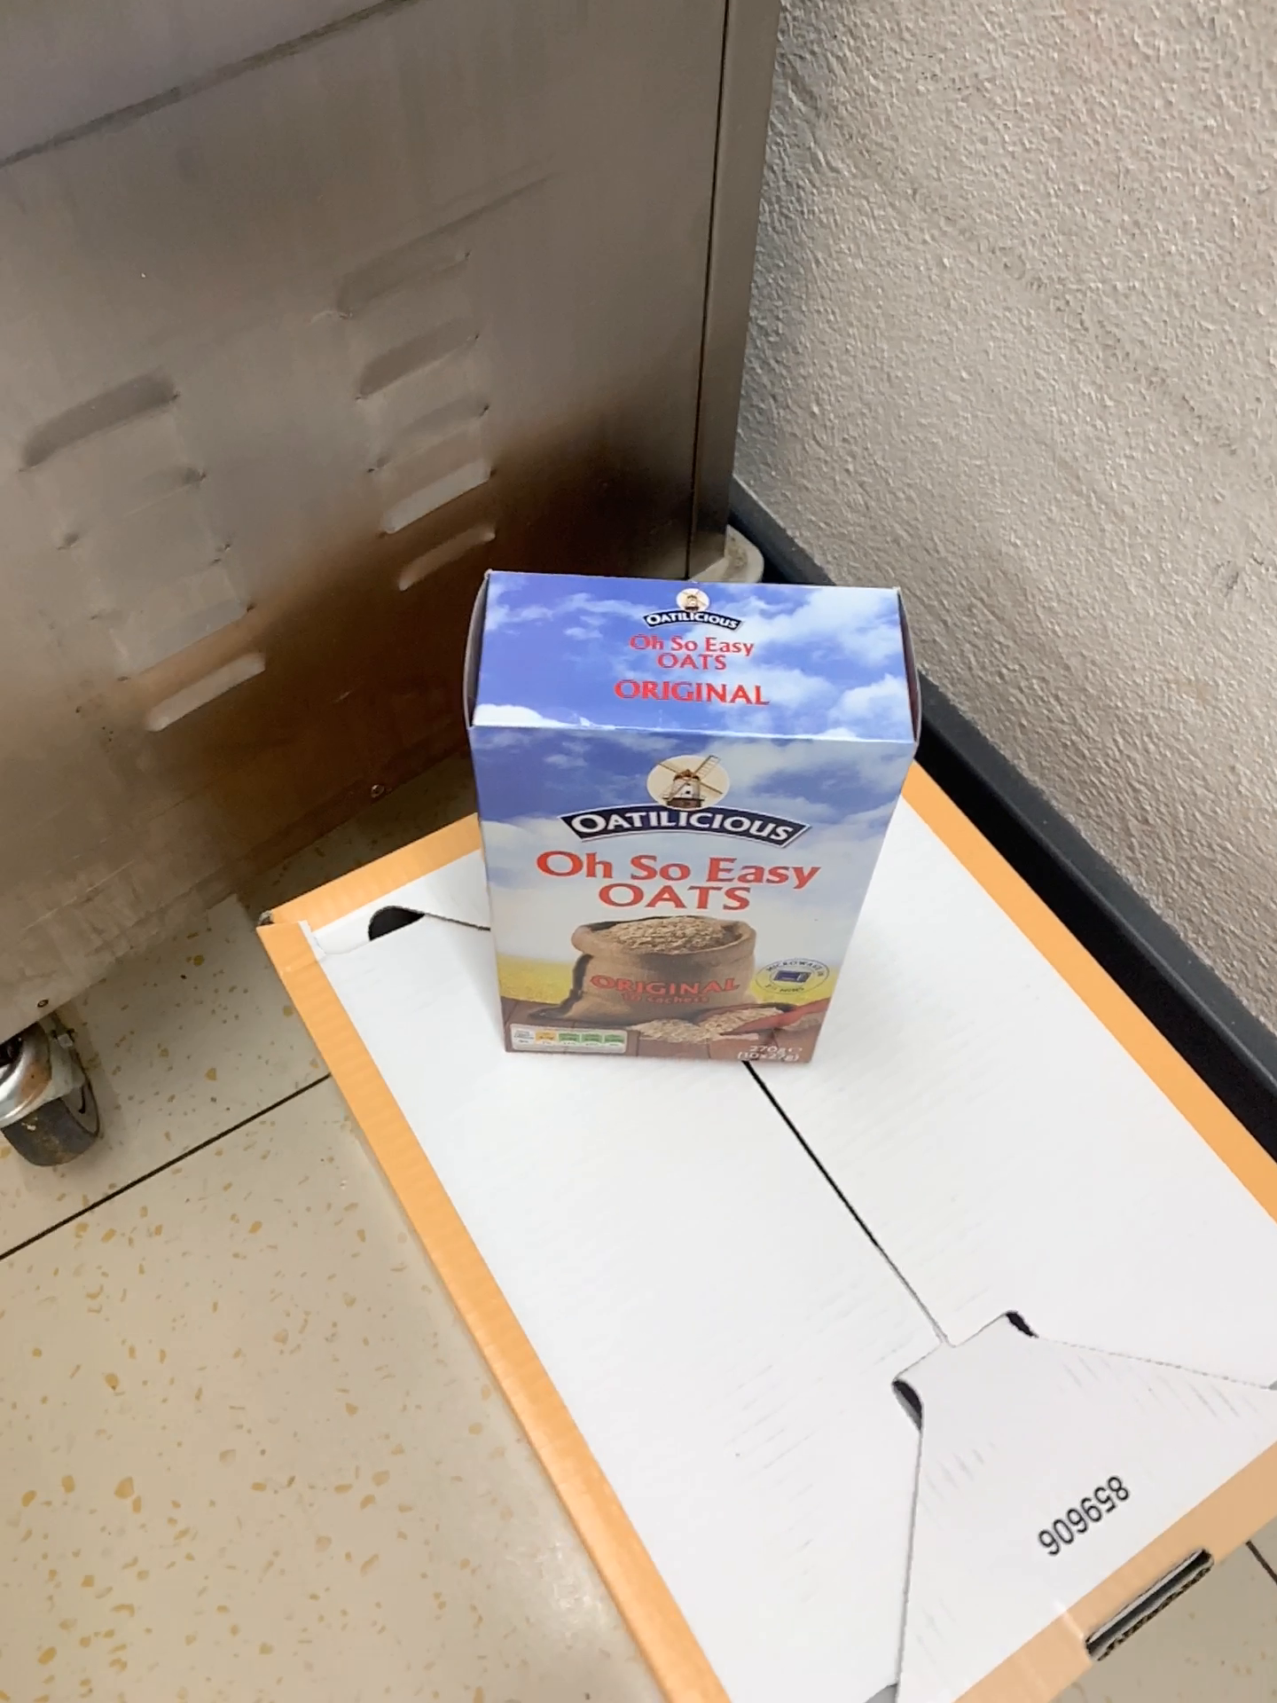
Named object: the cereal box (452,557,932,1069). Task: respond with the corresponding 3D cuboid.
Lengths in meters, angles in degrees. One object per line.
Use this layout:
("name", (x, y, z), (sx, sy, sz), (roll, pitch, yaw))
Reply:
("cereal box", (0.013, 0.001, 0.461), (0.130, 0.218, 0.060), (2, 56, 0))
